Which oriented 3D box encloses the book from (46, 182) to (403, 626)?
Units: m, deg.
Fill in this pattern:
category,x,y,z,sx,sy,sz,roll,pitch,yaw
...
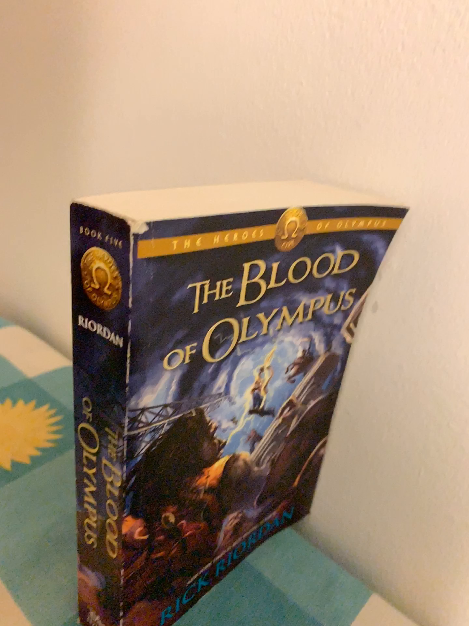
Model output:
category,x,y,z,sx,sy,sz,roll,pitch,yaw
book,-0.002,0.037,0.226,0.051,0.180,0.151,26,28,36
